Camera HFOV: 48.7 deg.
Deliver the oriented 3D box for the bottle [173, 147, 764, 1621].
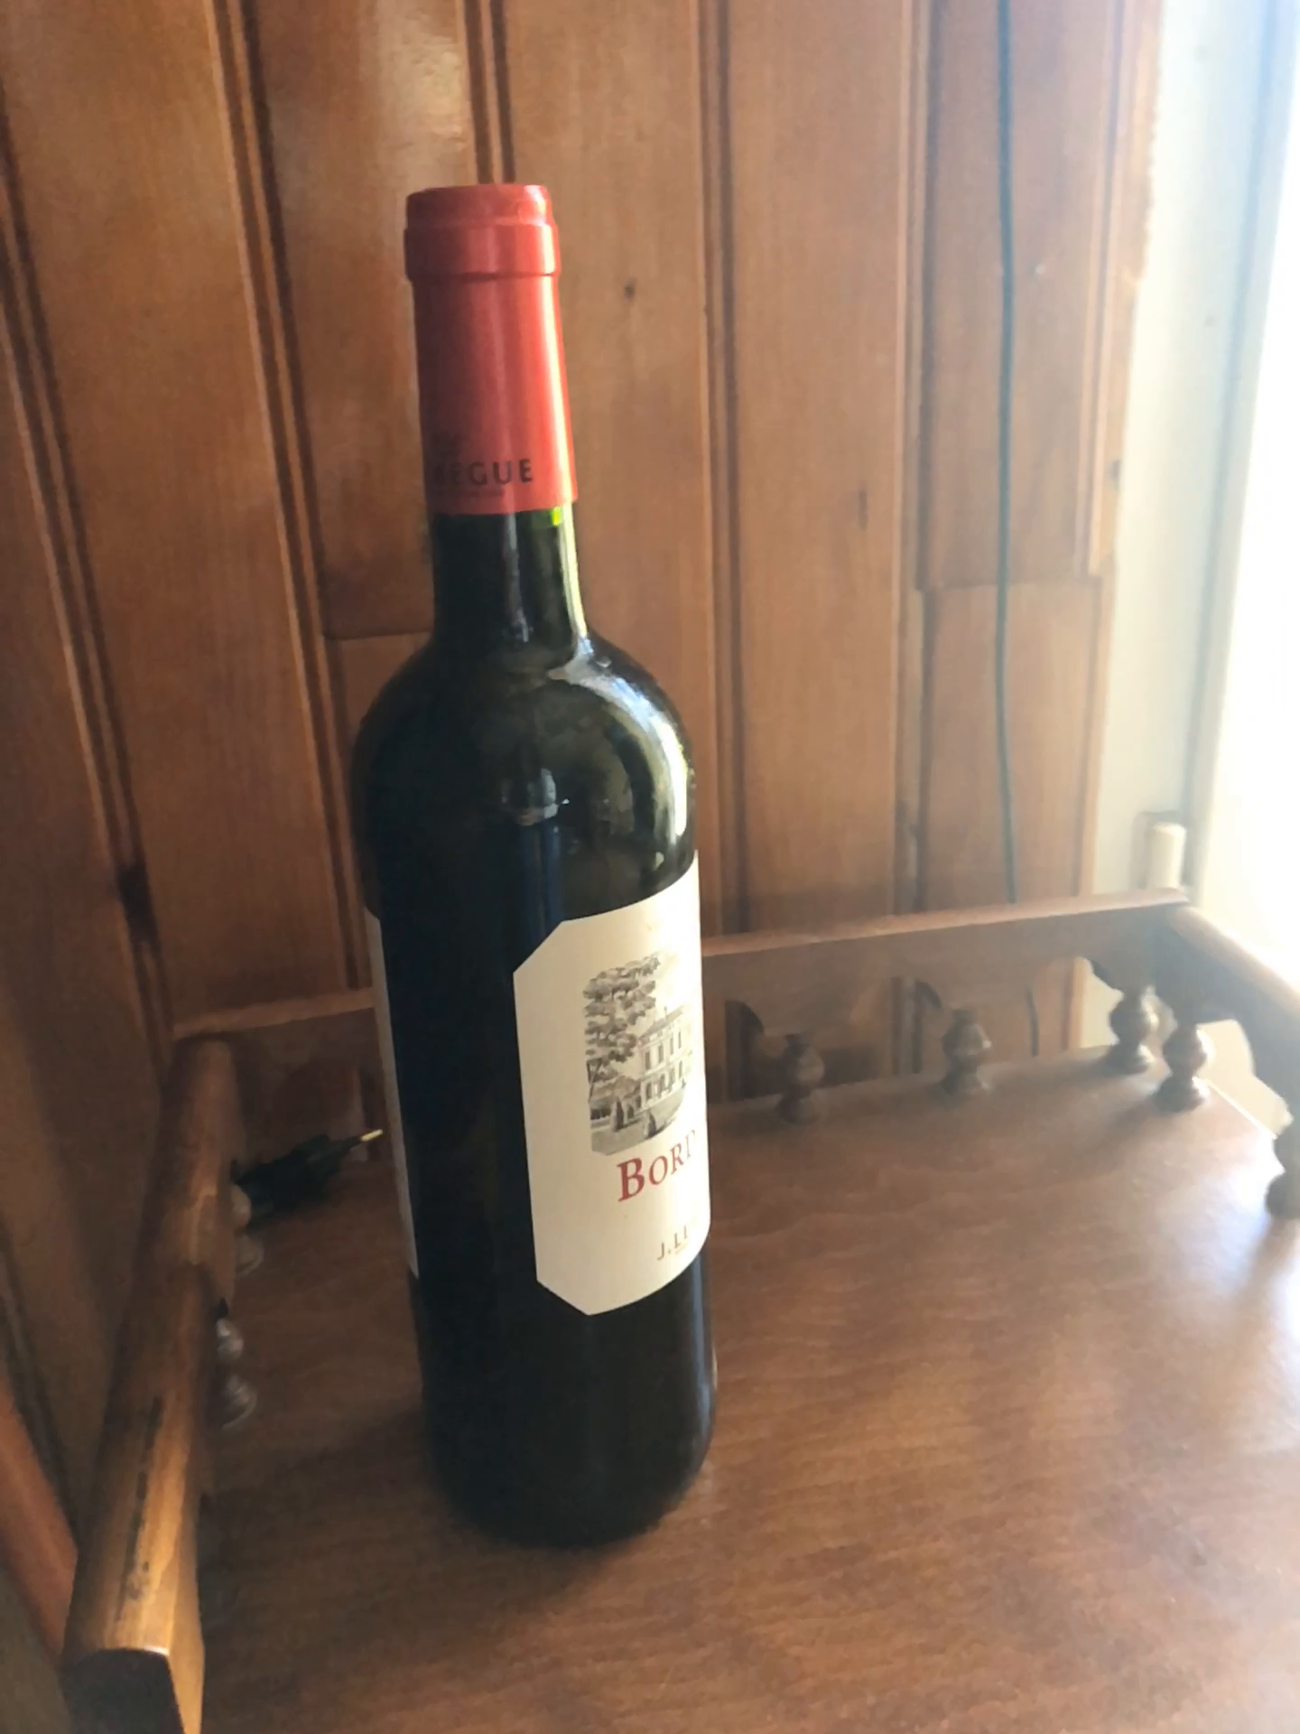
[{"bbox_3d":[-0.026,0.013,0.328,0.080,0.308,0.080,-2,22,1],"label":"bottle"}]
